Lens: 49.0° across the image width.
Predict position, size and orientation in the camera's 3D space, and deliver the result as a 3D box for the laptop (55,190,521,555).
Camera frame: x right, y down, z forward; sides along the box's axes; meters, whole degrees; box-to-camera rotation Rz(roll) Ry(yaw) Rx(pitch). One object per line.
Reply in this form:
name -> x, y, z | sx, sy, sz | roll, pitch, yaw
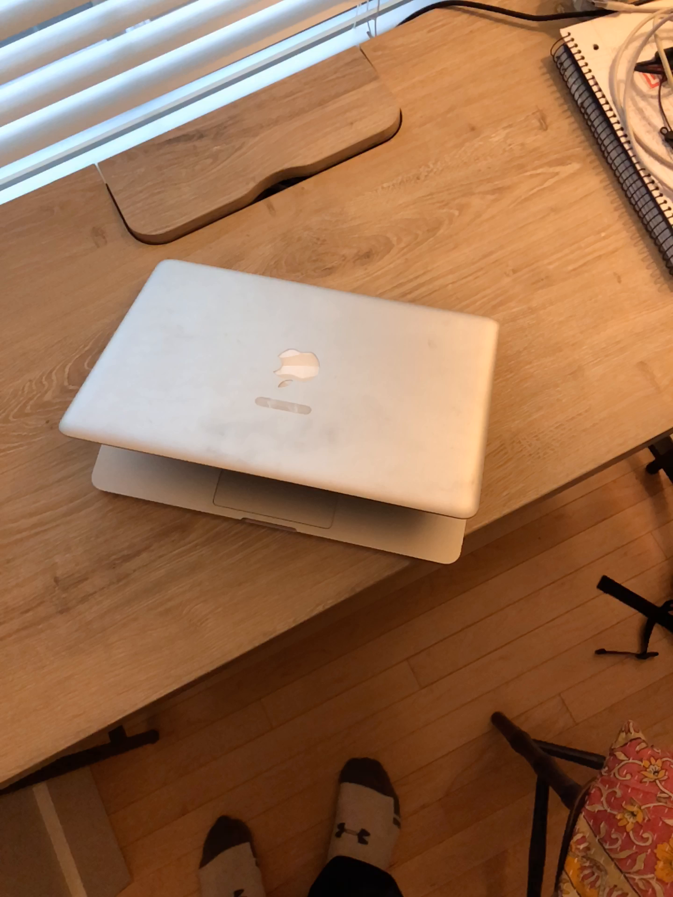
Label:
laptop -> -0.030, -0.065, 0.612 | 0.318, 0.090, 0.228 | 11, 74, 6
